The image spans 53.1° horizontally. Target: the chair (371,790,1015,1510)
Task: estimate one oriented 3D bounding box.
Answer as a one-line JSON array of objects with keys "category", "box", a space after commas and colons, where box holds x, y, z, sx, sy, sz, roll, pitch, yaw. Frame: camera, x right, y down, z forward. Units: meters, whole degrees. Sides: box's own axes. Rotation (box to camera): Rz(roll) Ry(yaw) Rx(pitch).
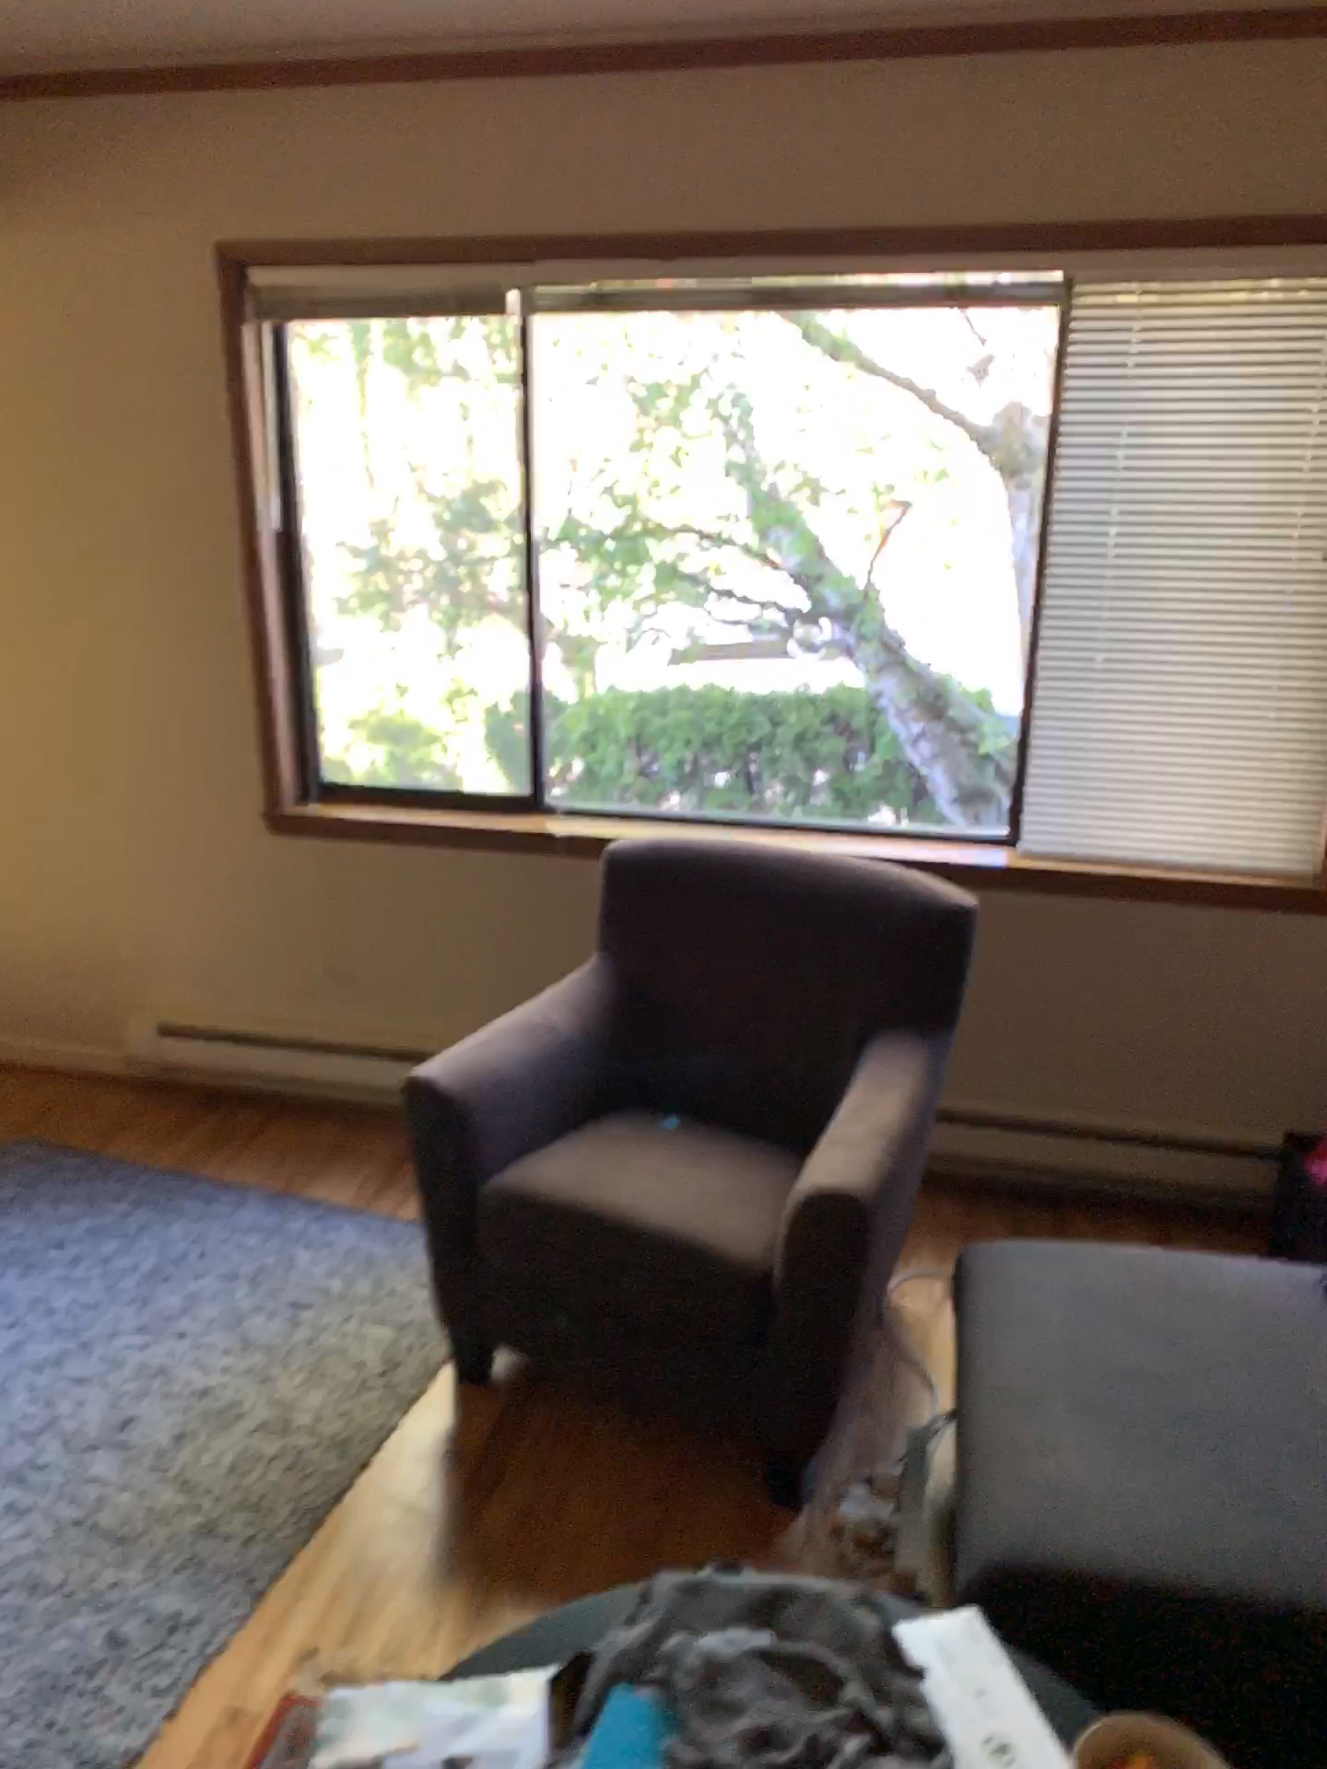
[{"category": "chair", "box": [0.078, 0.378, 2.456, 0.882, 0.877, 0.802, 9, 17, 25]}]
